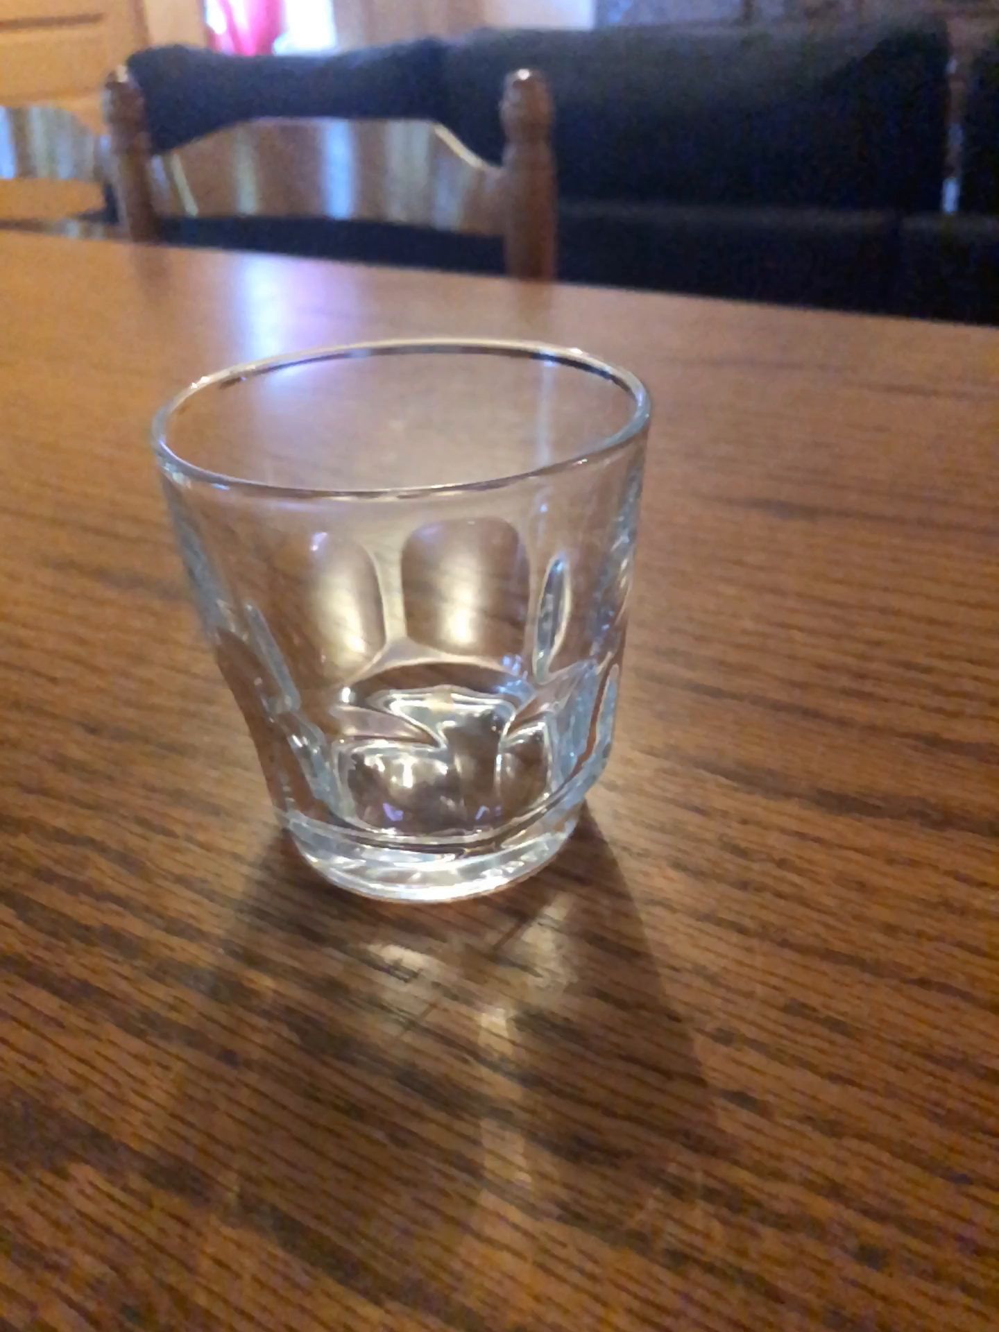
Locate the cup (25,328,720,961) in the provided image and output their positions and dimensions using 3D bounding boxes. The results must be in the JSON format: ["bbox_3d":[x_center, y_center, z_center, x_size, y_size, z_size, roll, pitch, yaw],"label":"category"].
[{"bbox_3d":[-0.013,-0.012,0.198,0.082,0.069,0.083,-2,30,1],"label":"cup"}]
